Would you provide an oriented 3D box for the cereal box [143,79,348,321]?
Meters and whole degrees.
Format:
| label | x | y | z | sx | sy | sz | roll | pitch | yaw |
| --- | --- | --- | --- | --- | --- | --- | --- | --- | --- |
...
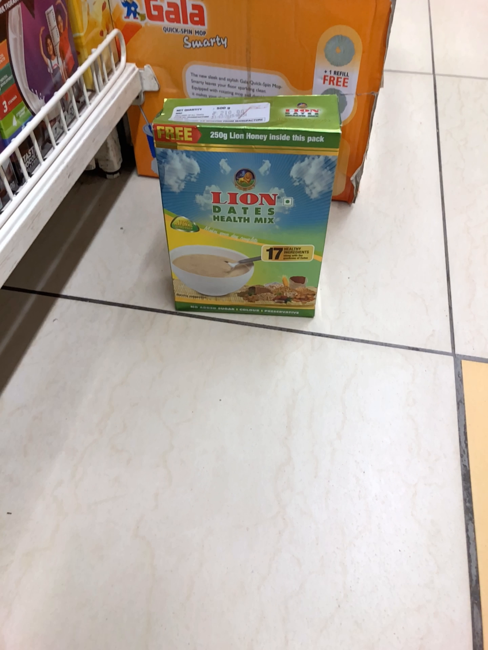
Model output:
| label | x | y | z | sx | sy | sz | roll | pitch | yaw |
| --- | --- | --- | --- | --- | --- | --- | --- | --- | --- |
| cereal box | 0.001 | -0.110 | 0.530 | 0.160 | 0.228 | 0.070 | 2 | 49 | 1 |
